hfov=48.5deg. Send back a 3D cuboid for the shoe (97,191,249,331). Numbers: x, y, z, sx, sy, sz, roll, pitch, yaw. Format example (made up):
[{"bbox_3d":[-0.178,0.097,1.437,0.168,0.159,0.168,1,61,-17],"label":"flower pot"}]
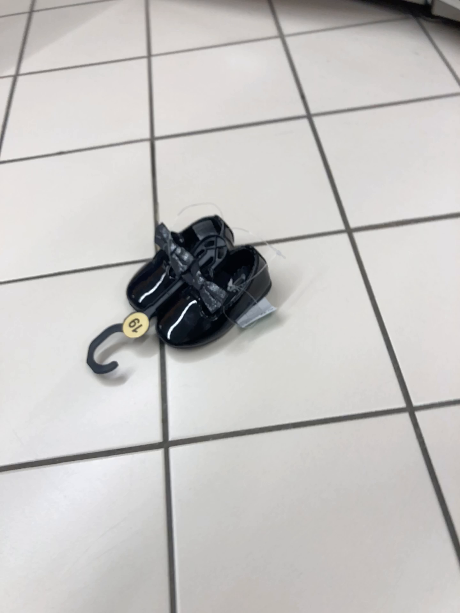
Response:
[{"bbox_3d":[-0.050,-0.045,0.488,0.125,0.052,0.061,-36,59,-18],"label":"shoe"}]

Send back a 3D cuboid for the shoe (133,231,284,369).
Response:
[{"bbox_3d":[-0.016,-0.009,0.466,0.123,0.037,0.061,-36,59,-18],"label":"shoe"}]
